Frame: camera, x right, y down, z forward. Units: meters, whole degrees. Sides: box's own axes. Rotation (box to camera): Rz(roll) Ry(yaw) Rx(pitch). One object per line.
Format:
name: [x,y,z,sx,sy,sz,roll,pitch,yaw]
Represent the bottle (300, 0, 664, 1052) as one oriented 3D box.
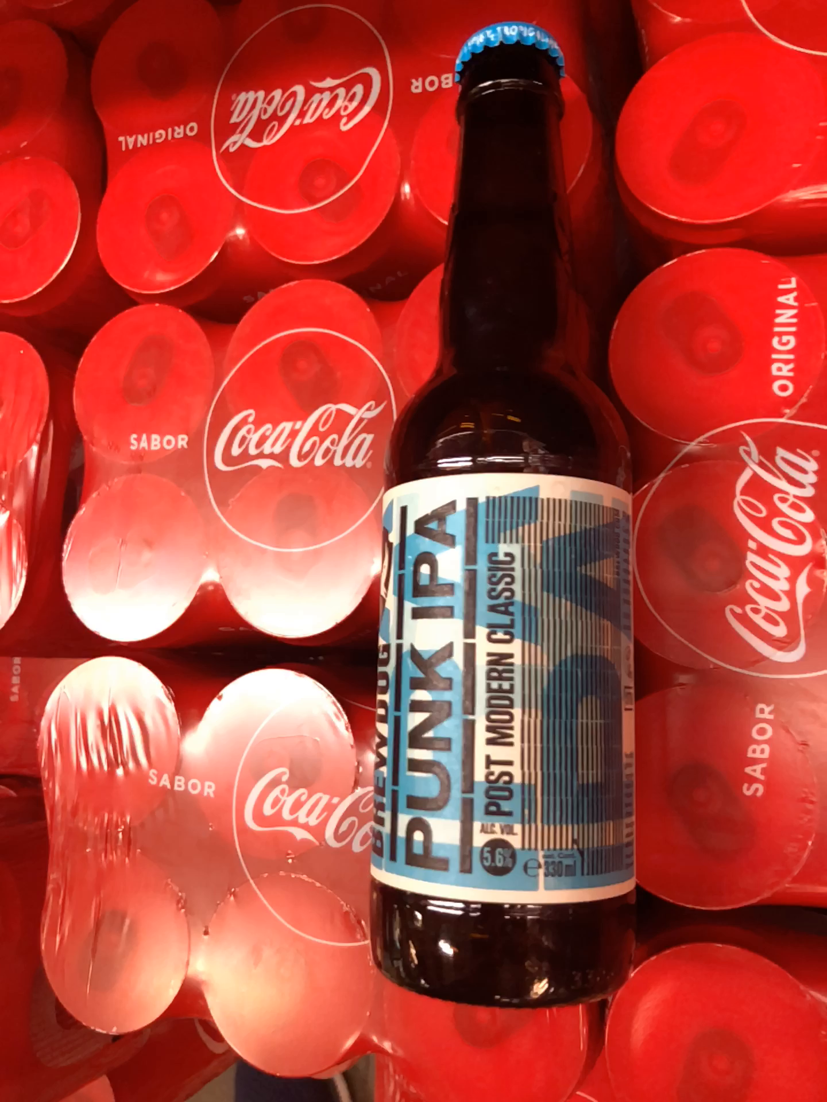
bottle: [0.019,-0.027,0.204,0.060,0.060,0.230,-2,82,20]
